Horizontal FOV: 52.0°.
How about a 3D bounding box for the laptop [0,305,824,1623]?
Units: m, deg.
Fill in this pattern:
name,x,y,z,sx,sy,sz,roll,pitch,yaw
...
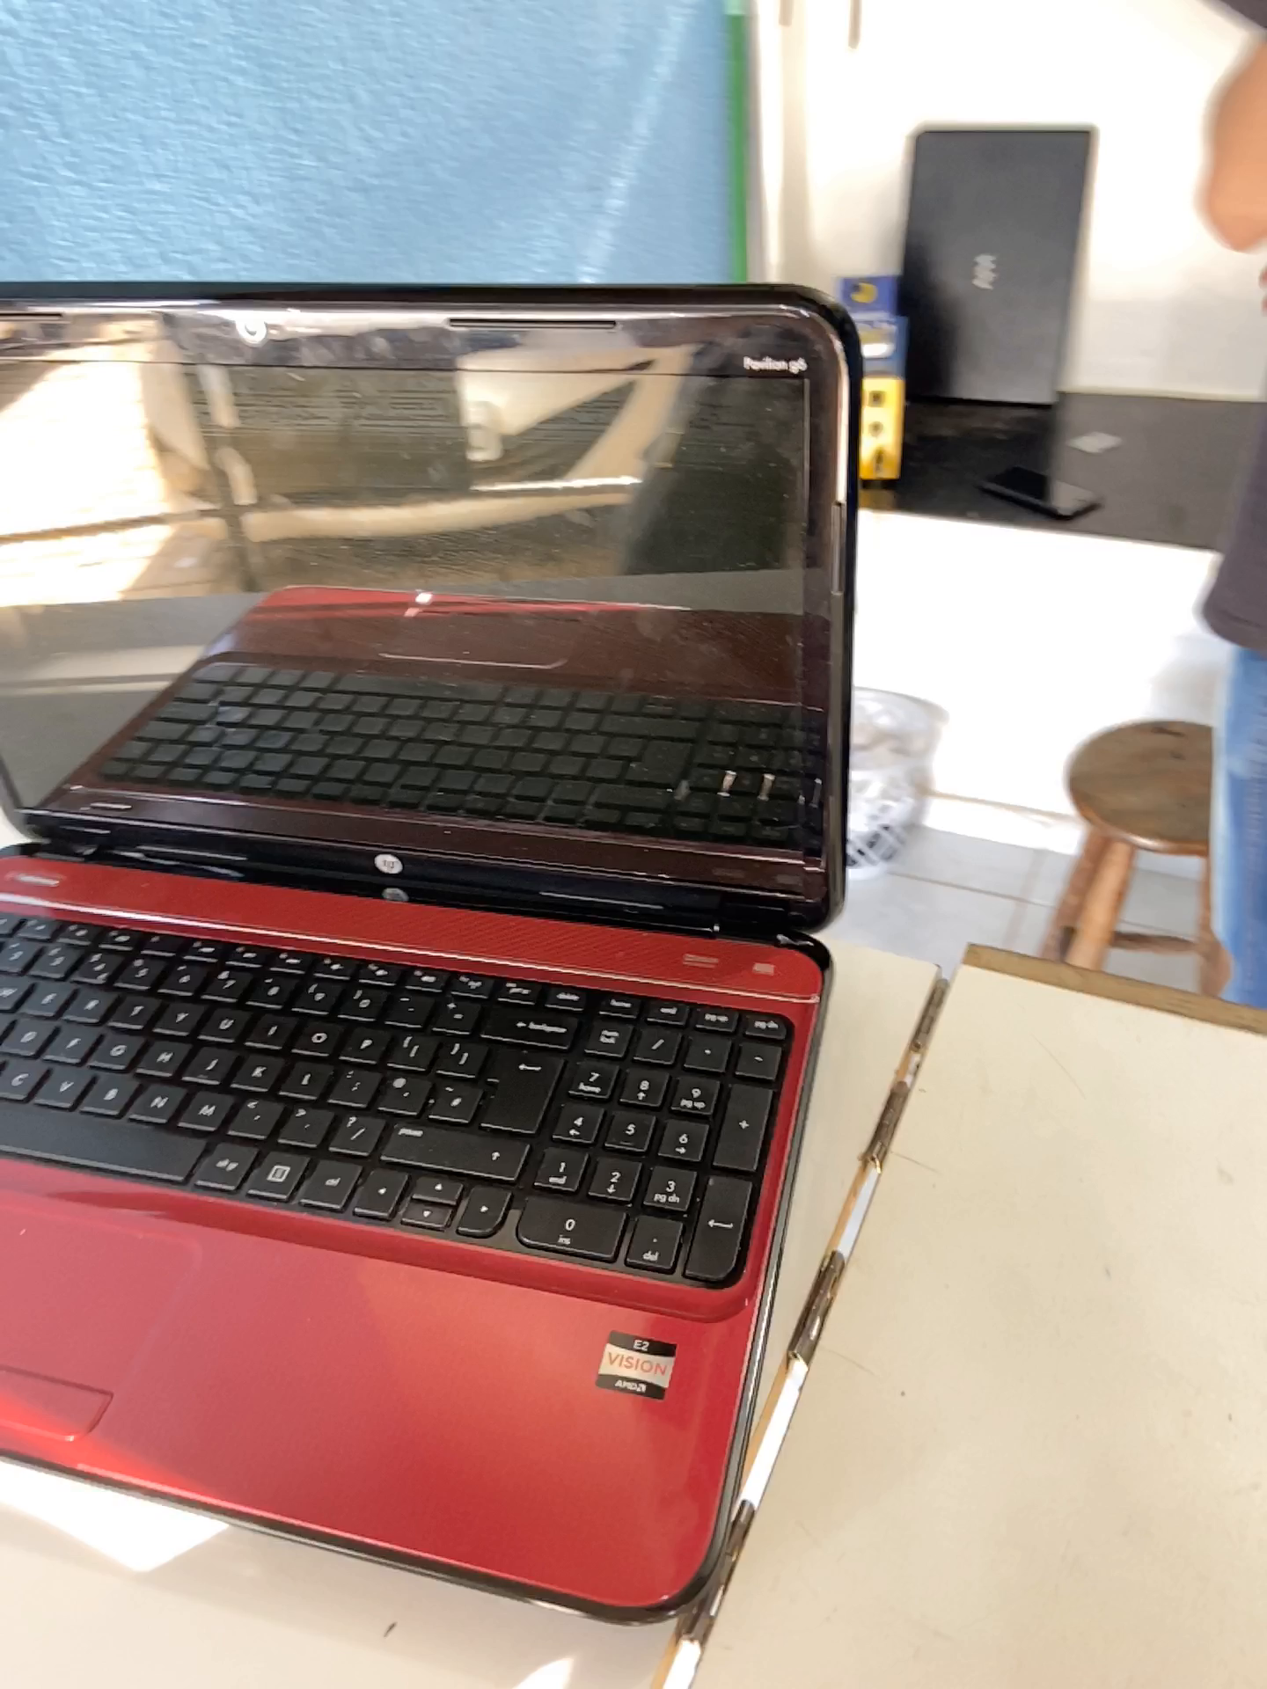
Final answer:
name,x,y,z,sx,sy,sz,roll,pitch,yaw
laptop,-0.141,0.001,0.364,0.356,0.221,0.228,5,38,16
